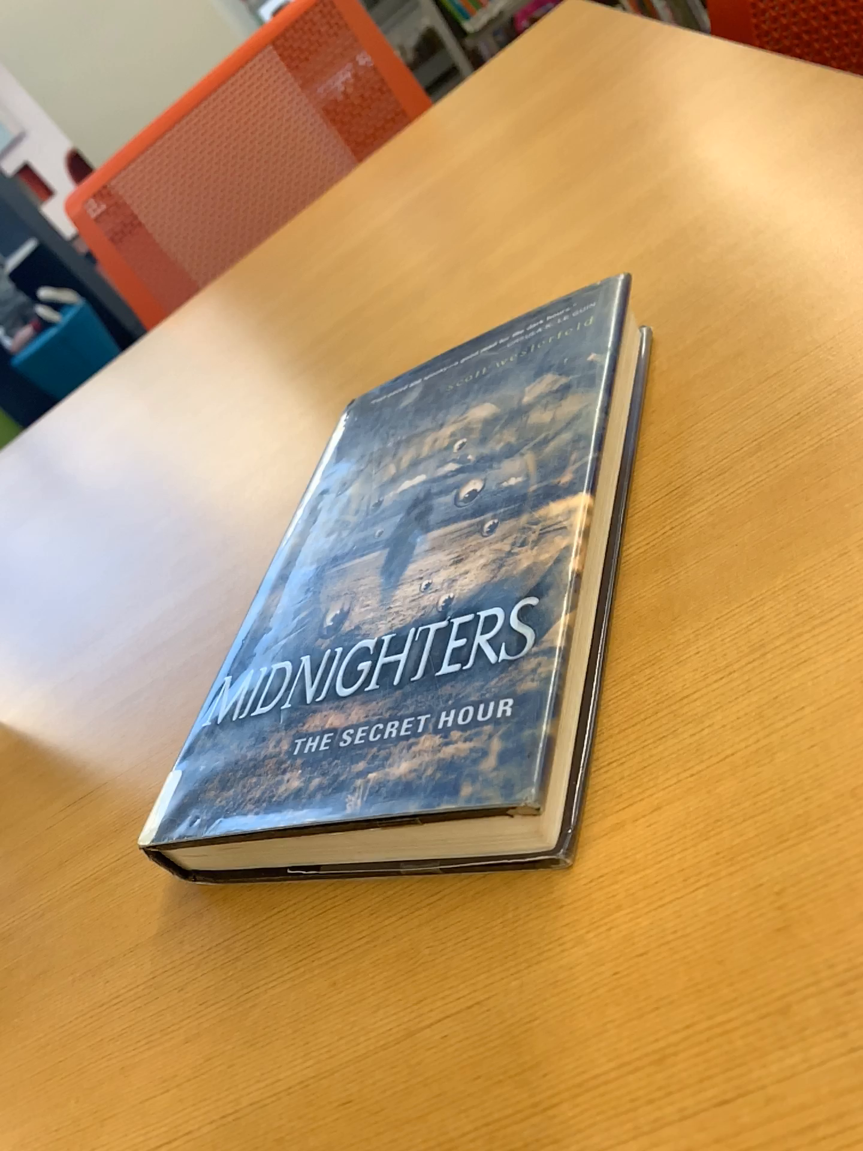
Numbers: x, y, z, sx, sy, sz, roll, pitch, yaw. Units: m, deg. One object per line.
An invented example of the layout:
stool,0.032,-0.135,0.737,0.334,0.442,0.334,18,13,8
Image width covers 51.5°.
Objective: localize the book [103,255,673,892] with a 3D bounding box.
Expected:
book,-0.004,-0.005,0.307,0.151,0.040,0.215,-16,40,35
